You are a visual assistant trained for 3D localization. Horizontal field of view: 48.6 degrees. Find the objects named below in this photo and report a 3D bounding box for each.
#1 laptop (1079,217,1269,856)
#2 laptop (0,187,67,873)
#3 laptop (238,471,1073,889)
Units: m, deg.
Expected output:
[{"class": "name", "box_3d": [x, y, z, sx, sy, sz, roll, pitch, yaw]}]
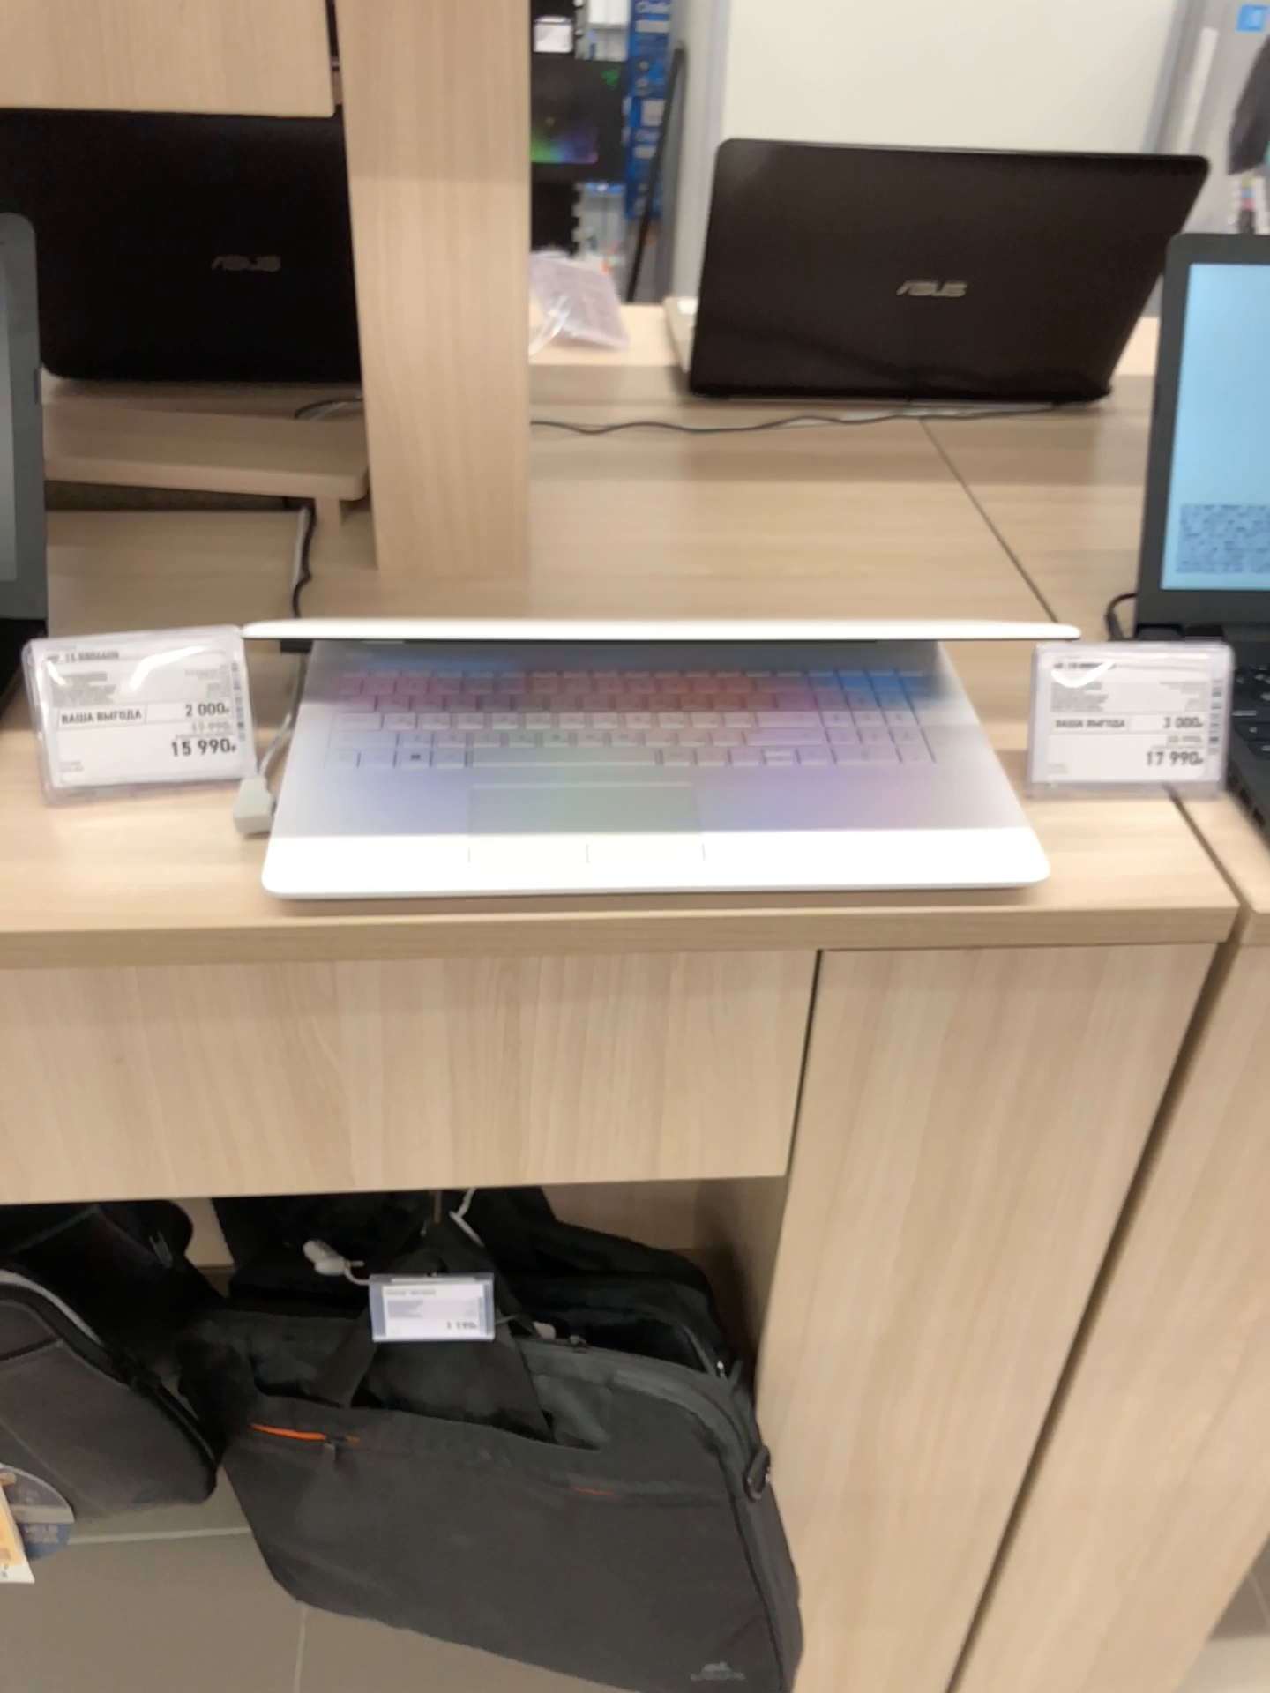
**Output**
[{"class": "laptop", "box_3d": [0.519, -0.187, 0.794, 0.391, 0.219, 0.351, 0, 35, -6]}, {"class": "laptop", "box_3d": [-0.553, -0.183, 0.728, 0.386, 0.203, 0.369, 0, 36, -5]}, {"class": "laptop", "box_3d": [0.005, -0.098, 0.738, 0.368, 0.103, 0.233, -1, 38, -4]}]
